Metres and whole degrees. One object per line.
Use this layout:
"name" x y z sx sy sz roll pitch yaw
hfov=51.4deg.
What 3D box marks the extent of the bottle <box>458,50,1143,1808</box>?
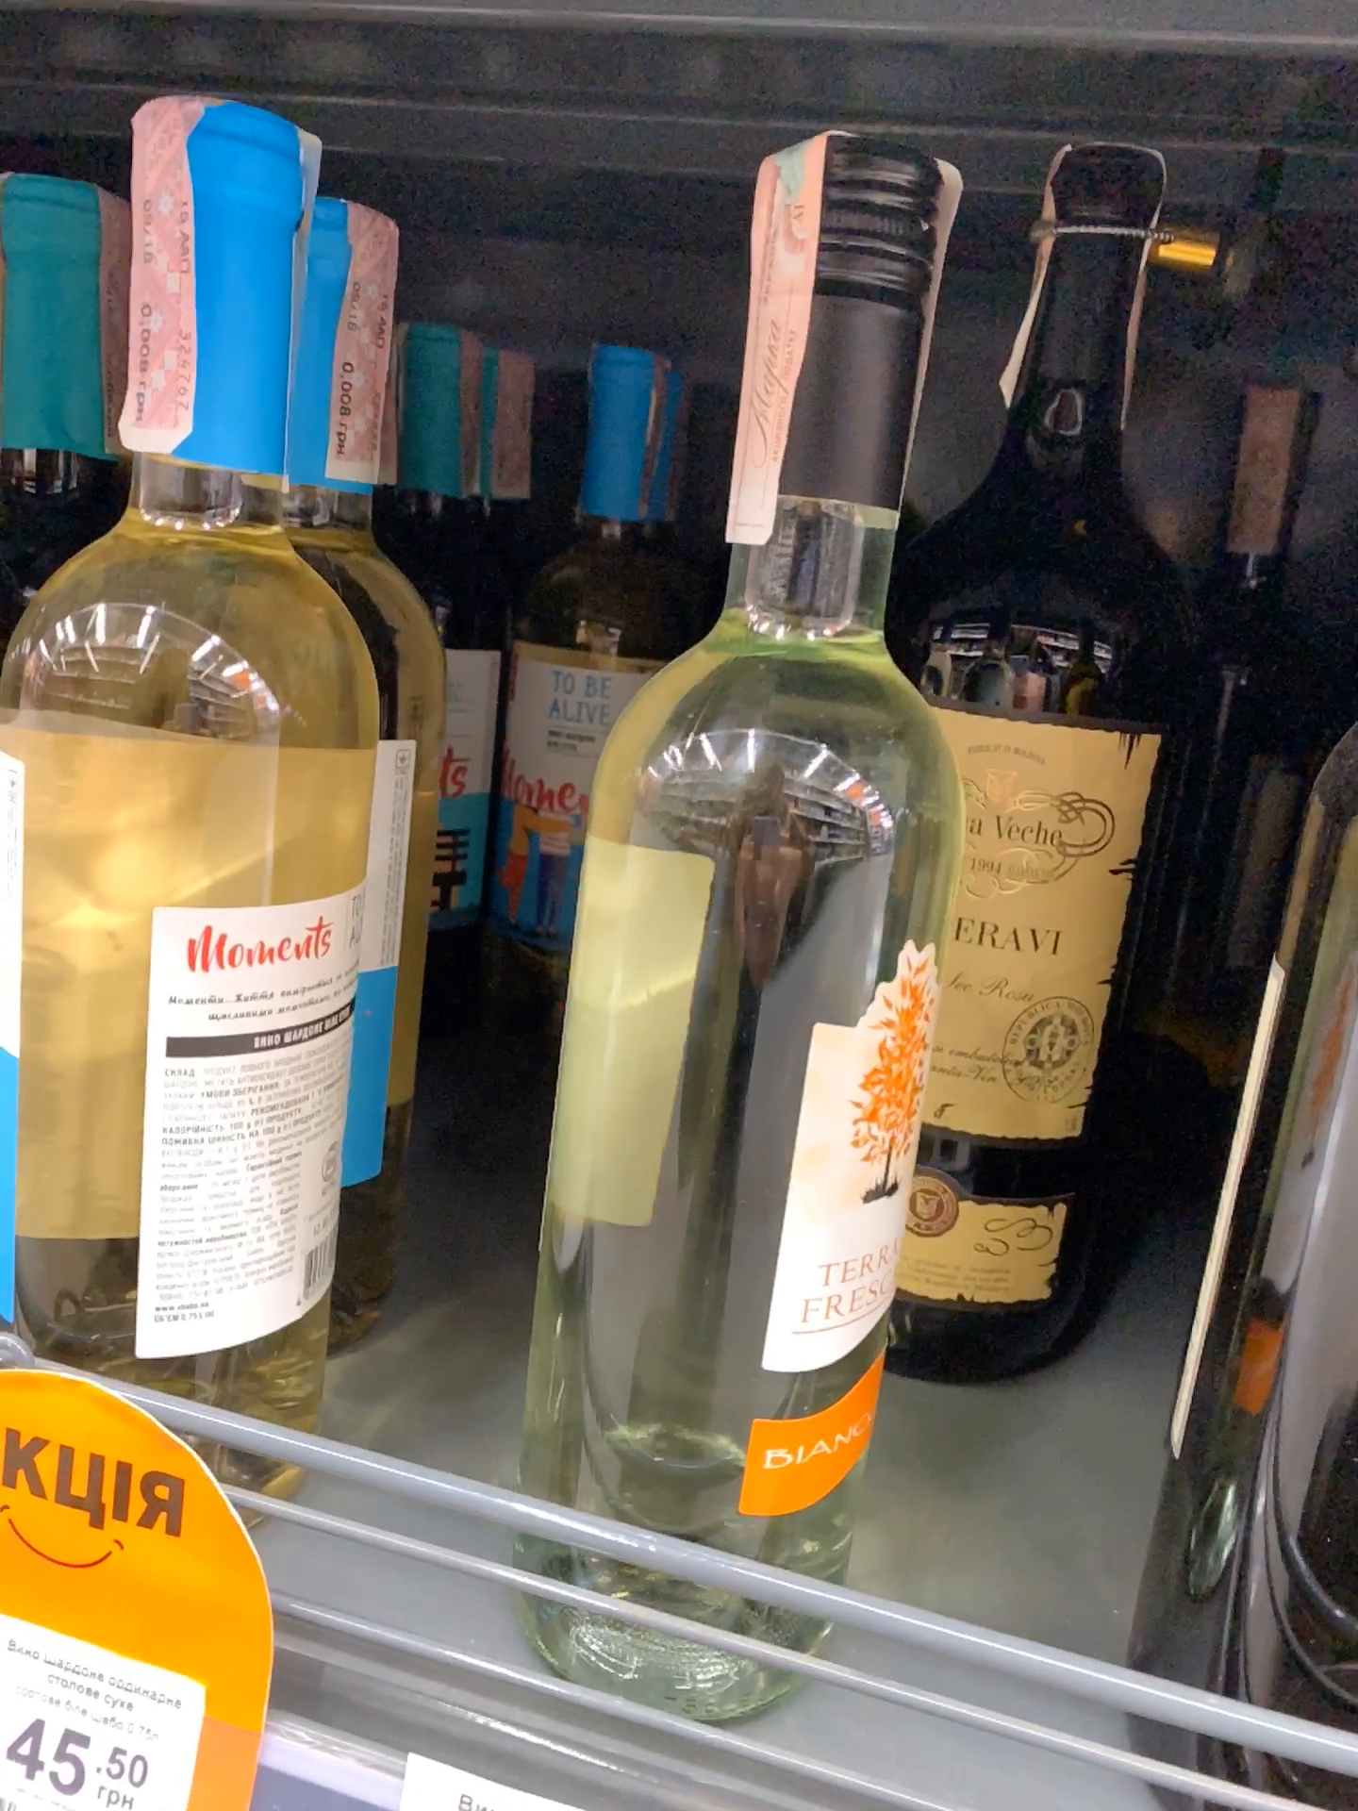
"bottle" 0.017 0.013 0.272 0.070 0.294 0.070 6 15 -2
